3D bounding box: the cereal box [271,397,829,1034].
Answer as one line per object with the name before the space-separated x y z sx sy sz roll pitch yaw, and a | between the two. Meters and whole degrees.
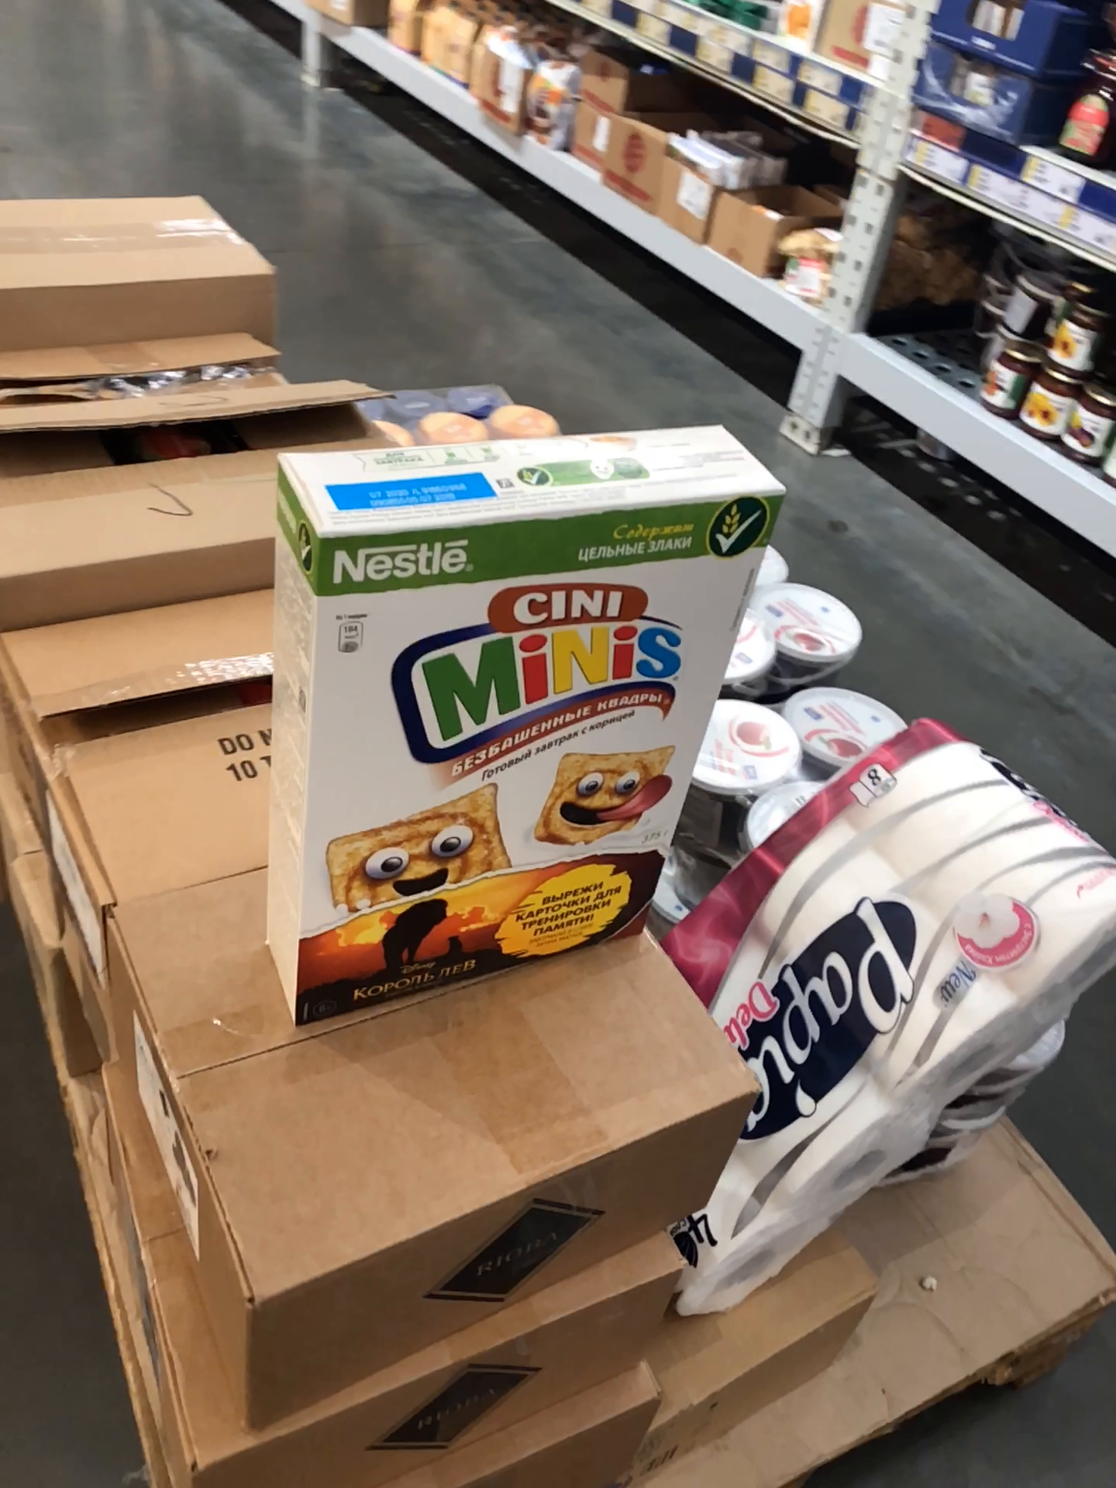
cereal box | -0.019 -0.005 0.540 0.200 0.278 0.060 -10 44 -23
